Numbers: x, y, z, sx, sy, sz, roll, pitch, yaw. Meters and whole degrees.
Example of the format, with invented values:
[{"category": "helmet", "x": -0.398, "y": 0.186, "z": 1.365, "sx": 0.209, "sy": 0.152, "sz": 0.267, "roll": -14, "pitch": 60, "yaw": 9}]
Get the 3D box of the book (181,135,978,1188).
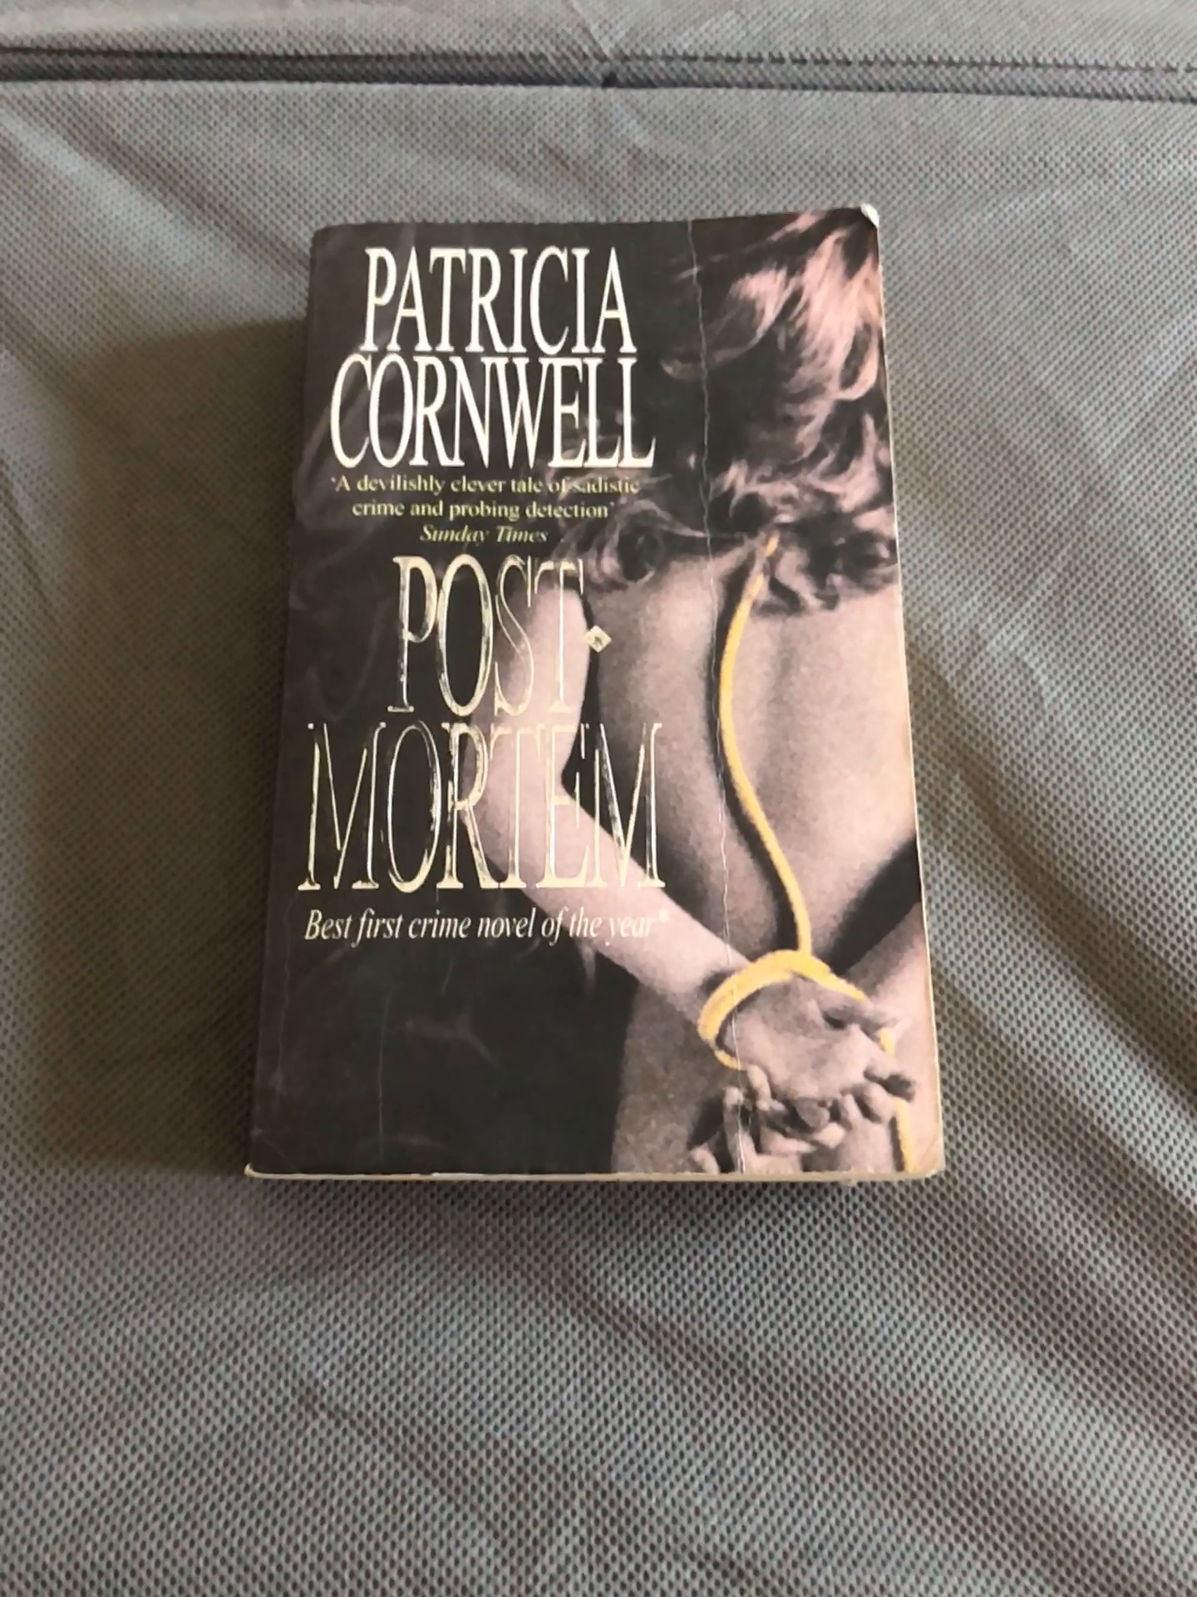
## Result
[{"category": "book", "x": -0.003, "y": -0.026, "z": 0.237, "sx": 0.110, "sy": 0.050, "sz": 0.180, "roll": 0, "pitch": 71, "yaw": -2}]
